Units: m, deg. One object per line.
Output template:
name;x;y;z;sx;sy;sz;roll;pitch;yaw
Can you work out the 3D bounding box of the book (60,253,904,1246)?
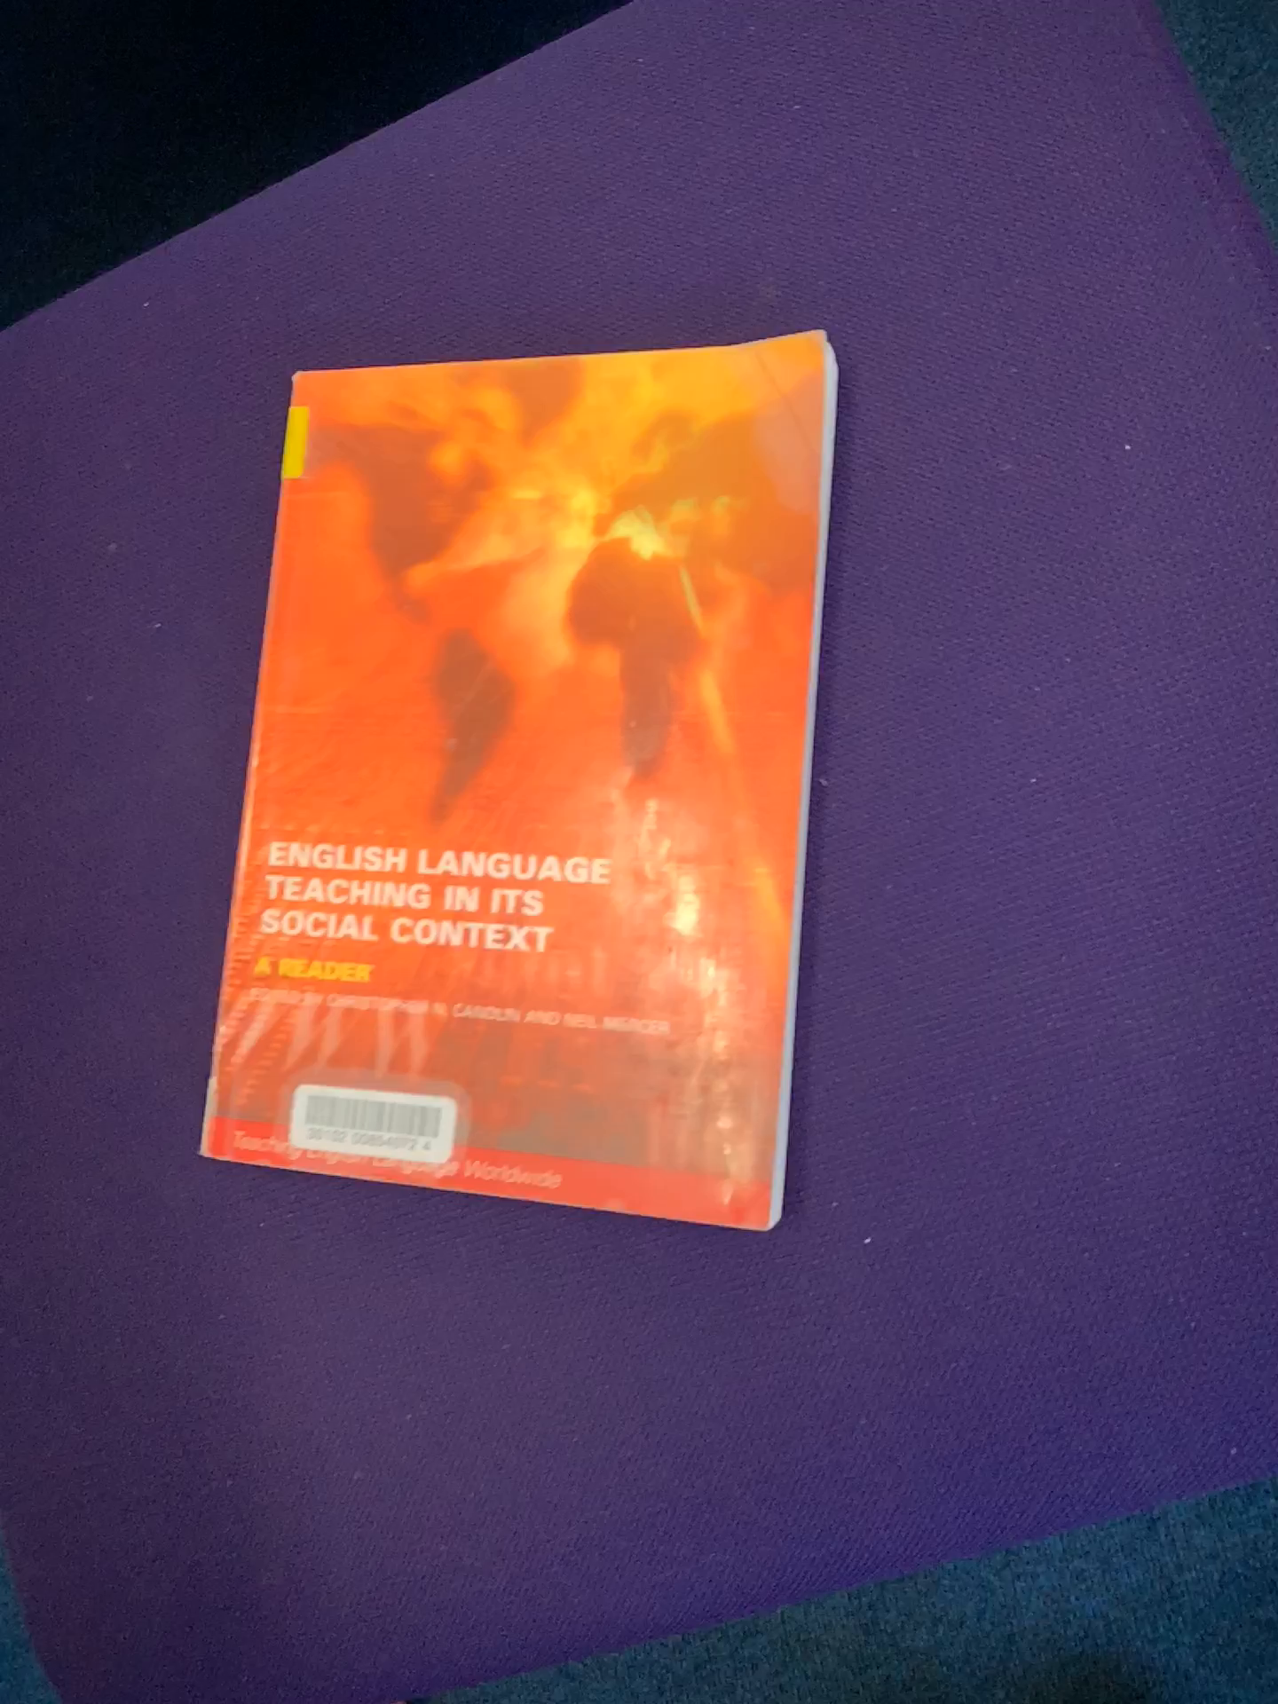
book;-0.043;-0.038;0.399;0.220;0.050;0.270;4;80;17
